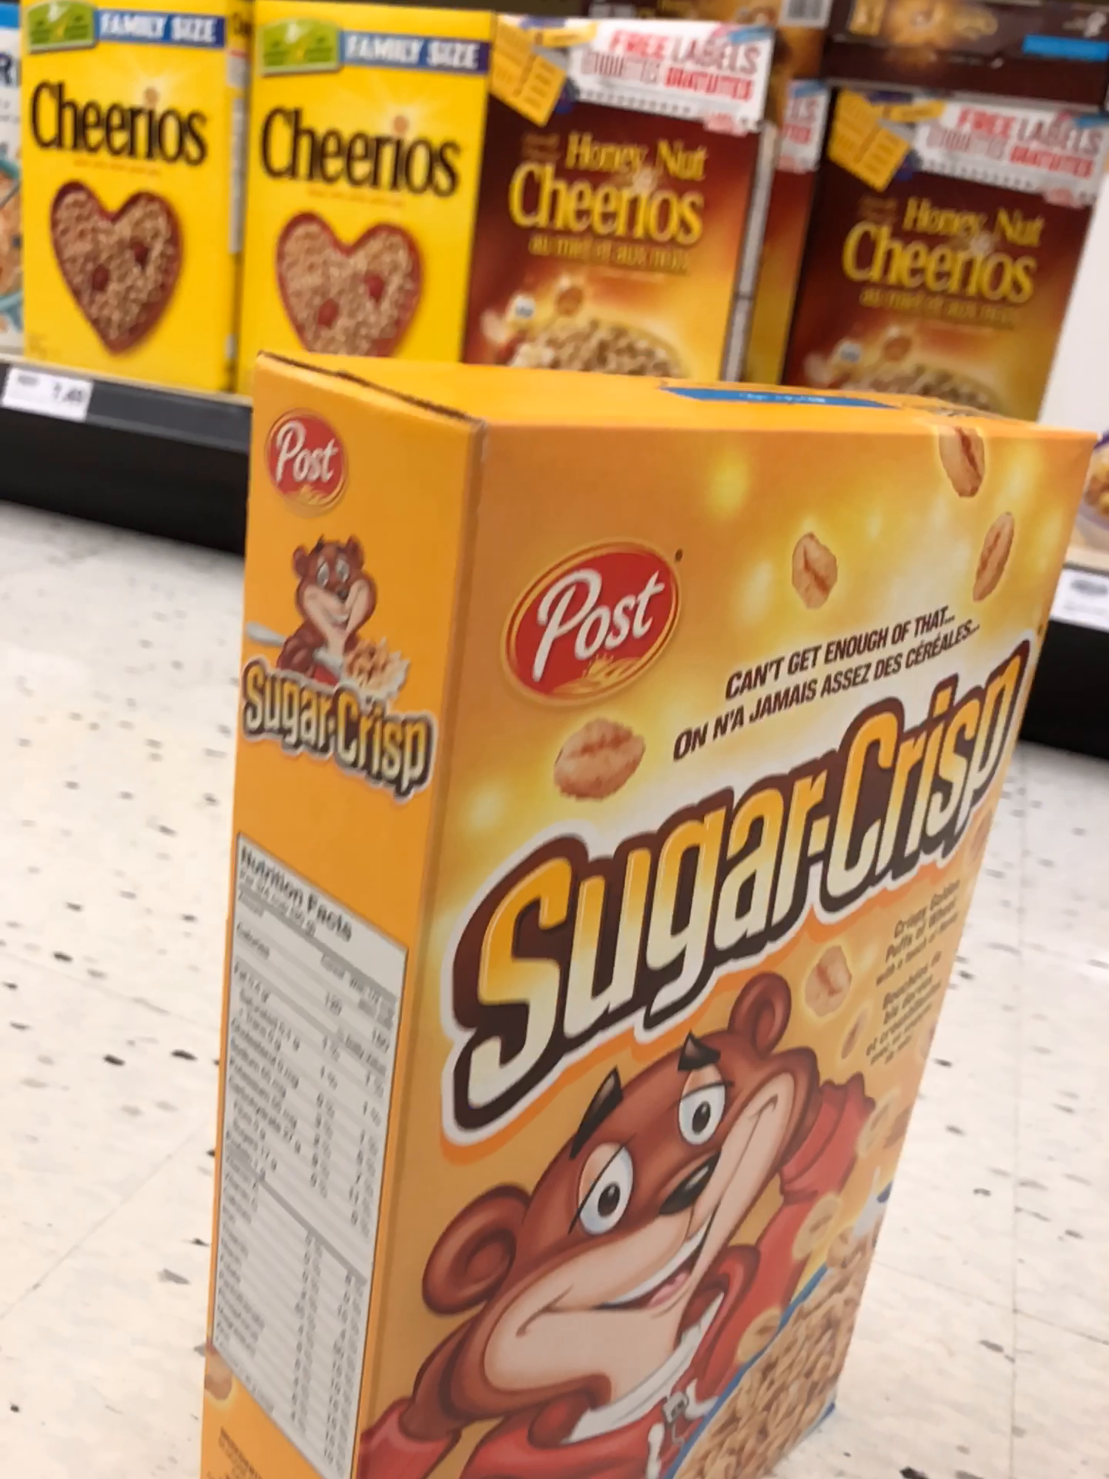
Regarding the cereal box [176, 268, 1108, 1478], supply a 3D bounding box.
[{"bbox_3d":[0.033,0.068,0.273,0.211,0.298,0.060,-12,28,-44],"label":"cereal box"}]
